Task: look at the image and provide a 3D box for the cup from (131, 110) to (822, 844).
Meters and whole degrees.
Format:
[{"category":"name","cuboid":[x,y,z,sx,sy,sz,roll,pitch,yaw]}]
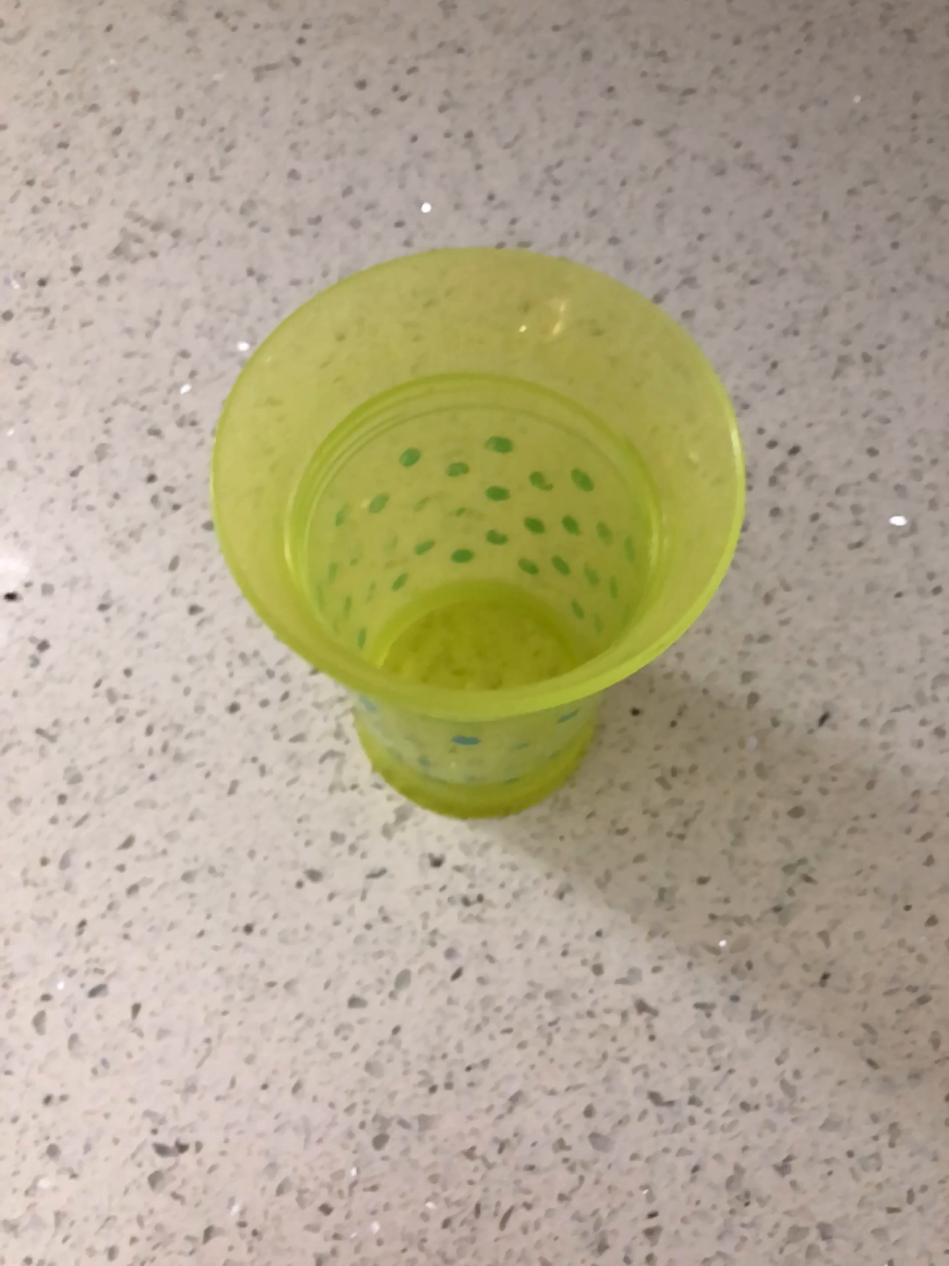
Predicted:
[{"category":"cup","cuboid":[0.002,-0.020,0.209,0.078,0.109,0.073,0,67,0]}]
